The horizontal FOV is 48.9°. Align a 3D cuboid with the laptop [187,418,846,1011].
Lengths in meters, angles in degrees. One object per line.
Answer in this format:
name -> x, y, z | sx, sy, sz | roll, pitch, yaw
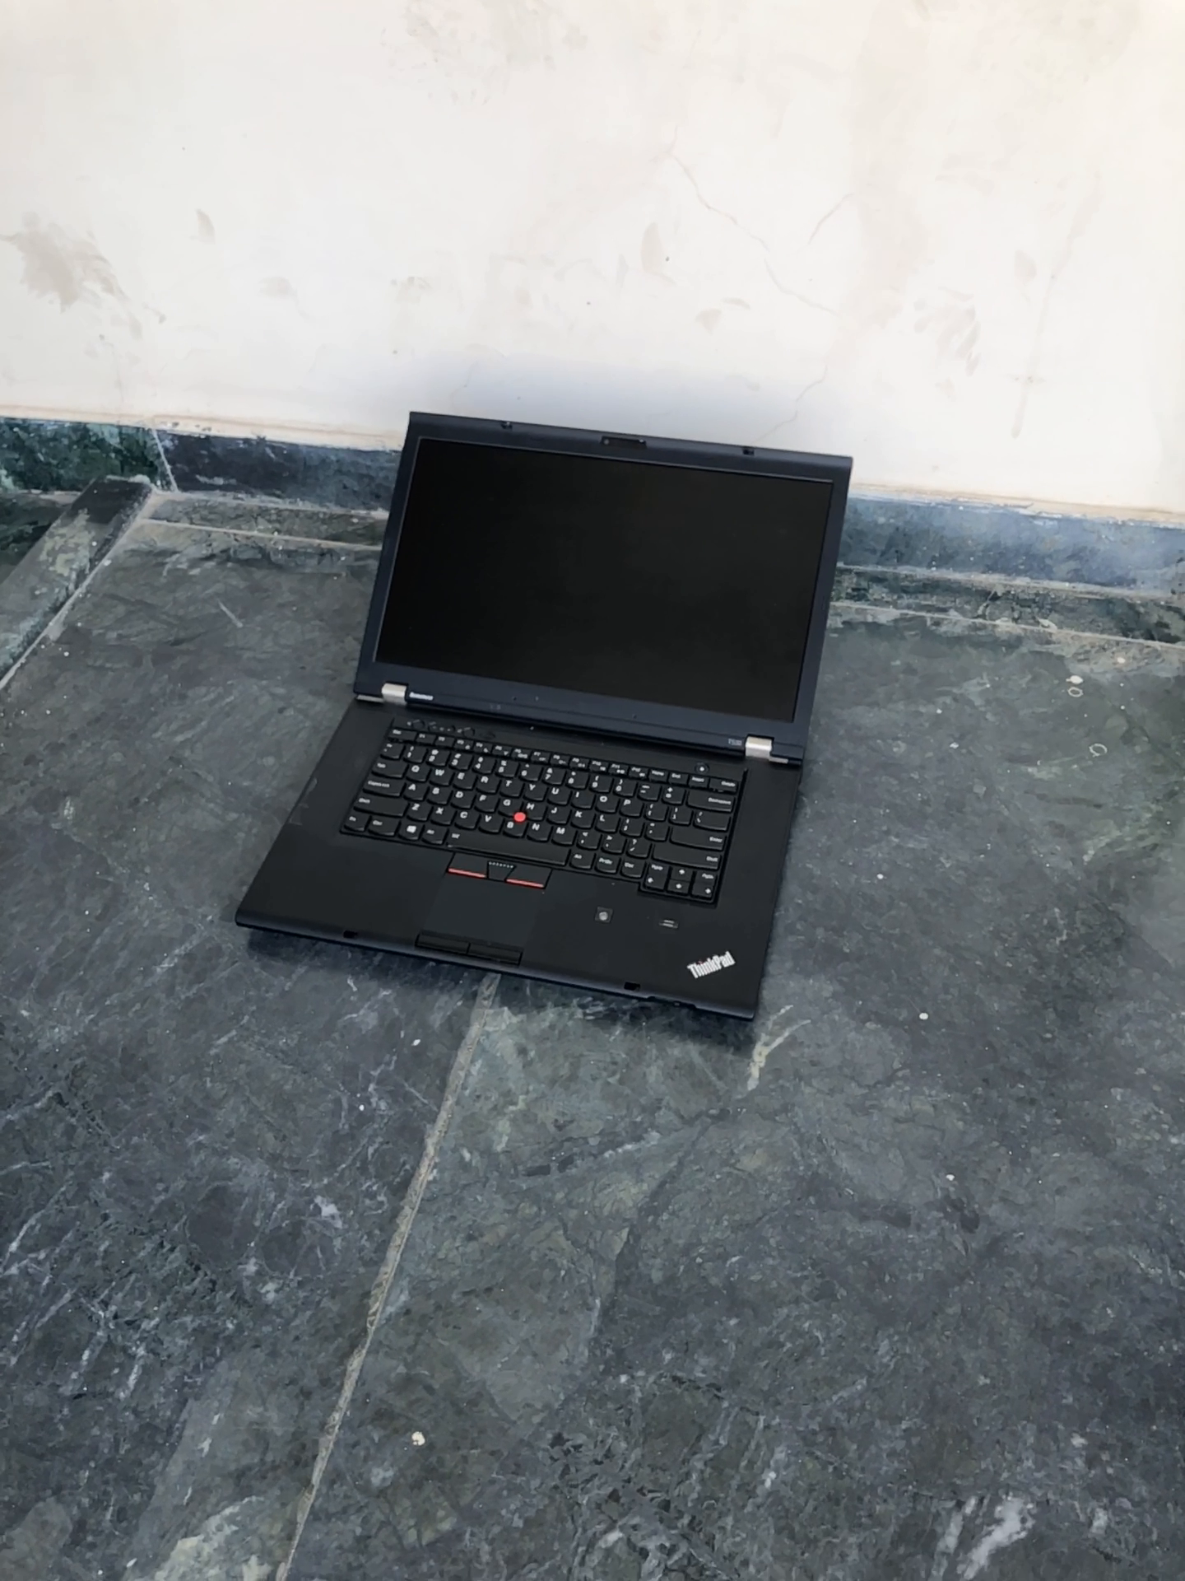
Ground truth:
laptop -> -0.020, -0.074, 0.842 | 0.311, 0.115, 0.377 | 9, 48, 11
